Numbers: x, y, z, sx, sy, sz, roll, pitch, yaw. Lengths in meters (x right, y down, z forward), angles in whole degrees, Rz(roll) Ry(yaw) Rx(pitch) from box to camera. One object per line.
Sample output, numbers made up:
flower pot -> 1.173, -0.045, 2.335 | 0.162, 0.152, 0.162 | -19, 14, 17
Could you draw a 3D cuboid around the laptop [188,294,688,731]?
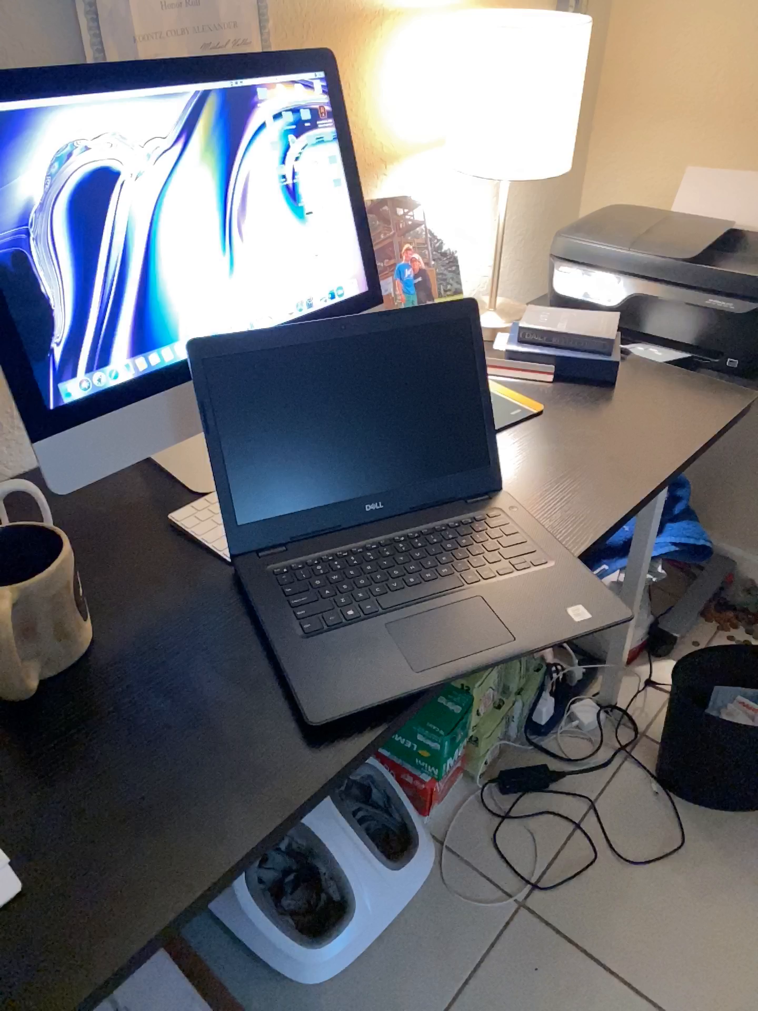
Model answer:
laptop -> 0.030, -0.029, 0.768 | 0.337, 0.206, 0.344 | -14, 37, -20
